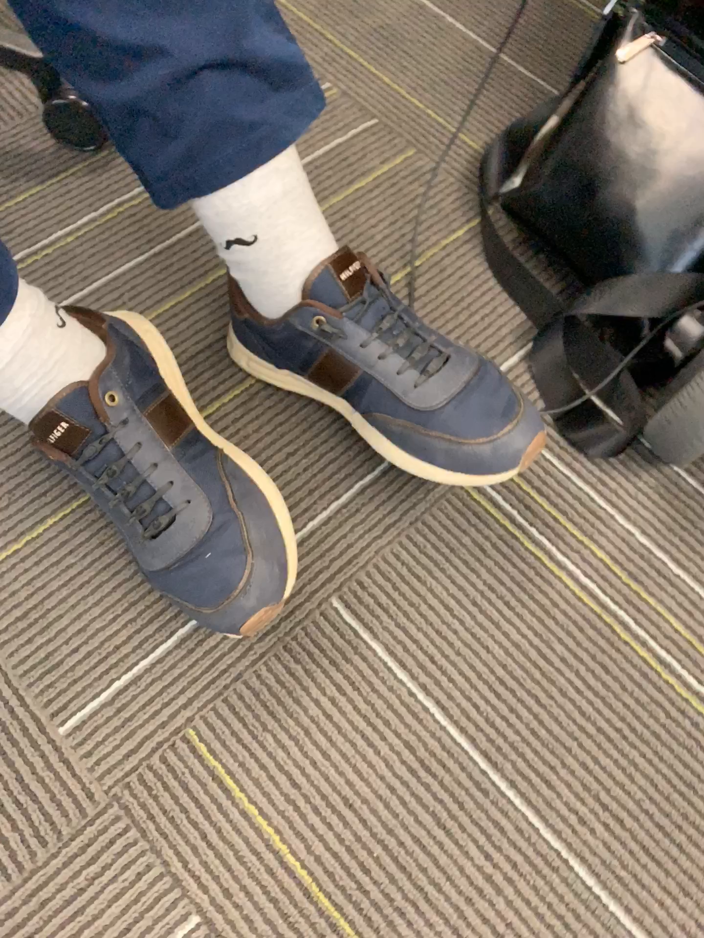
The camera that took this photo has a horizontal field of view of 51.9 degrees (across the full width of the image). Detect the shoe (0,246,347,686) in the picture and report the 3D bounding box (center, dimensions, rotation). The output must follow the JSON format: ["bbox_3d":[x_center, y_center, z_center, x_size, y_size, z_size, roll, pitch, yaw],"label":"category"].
[{"bbox_3d":[-0.152,-0.013,0.538,0.120,0.100,0.321,-43,58,9],"label":"shoe"}]

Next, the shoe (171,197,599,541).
[{"bbox_3d":[0.017,-0.089,0.562,0.300,0.100,0.120,32,66,27],"label":"shoe"}]
